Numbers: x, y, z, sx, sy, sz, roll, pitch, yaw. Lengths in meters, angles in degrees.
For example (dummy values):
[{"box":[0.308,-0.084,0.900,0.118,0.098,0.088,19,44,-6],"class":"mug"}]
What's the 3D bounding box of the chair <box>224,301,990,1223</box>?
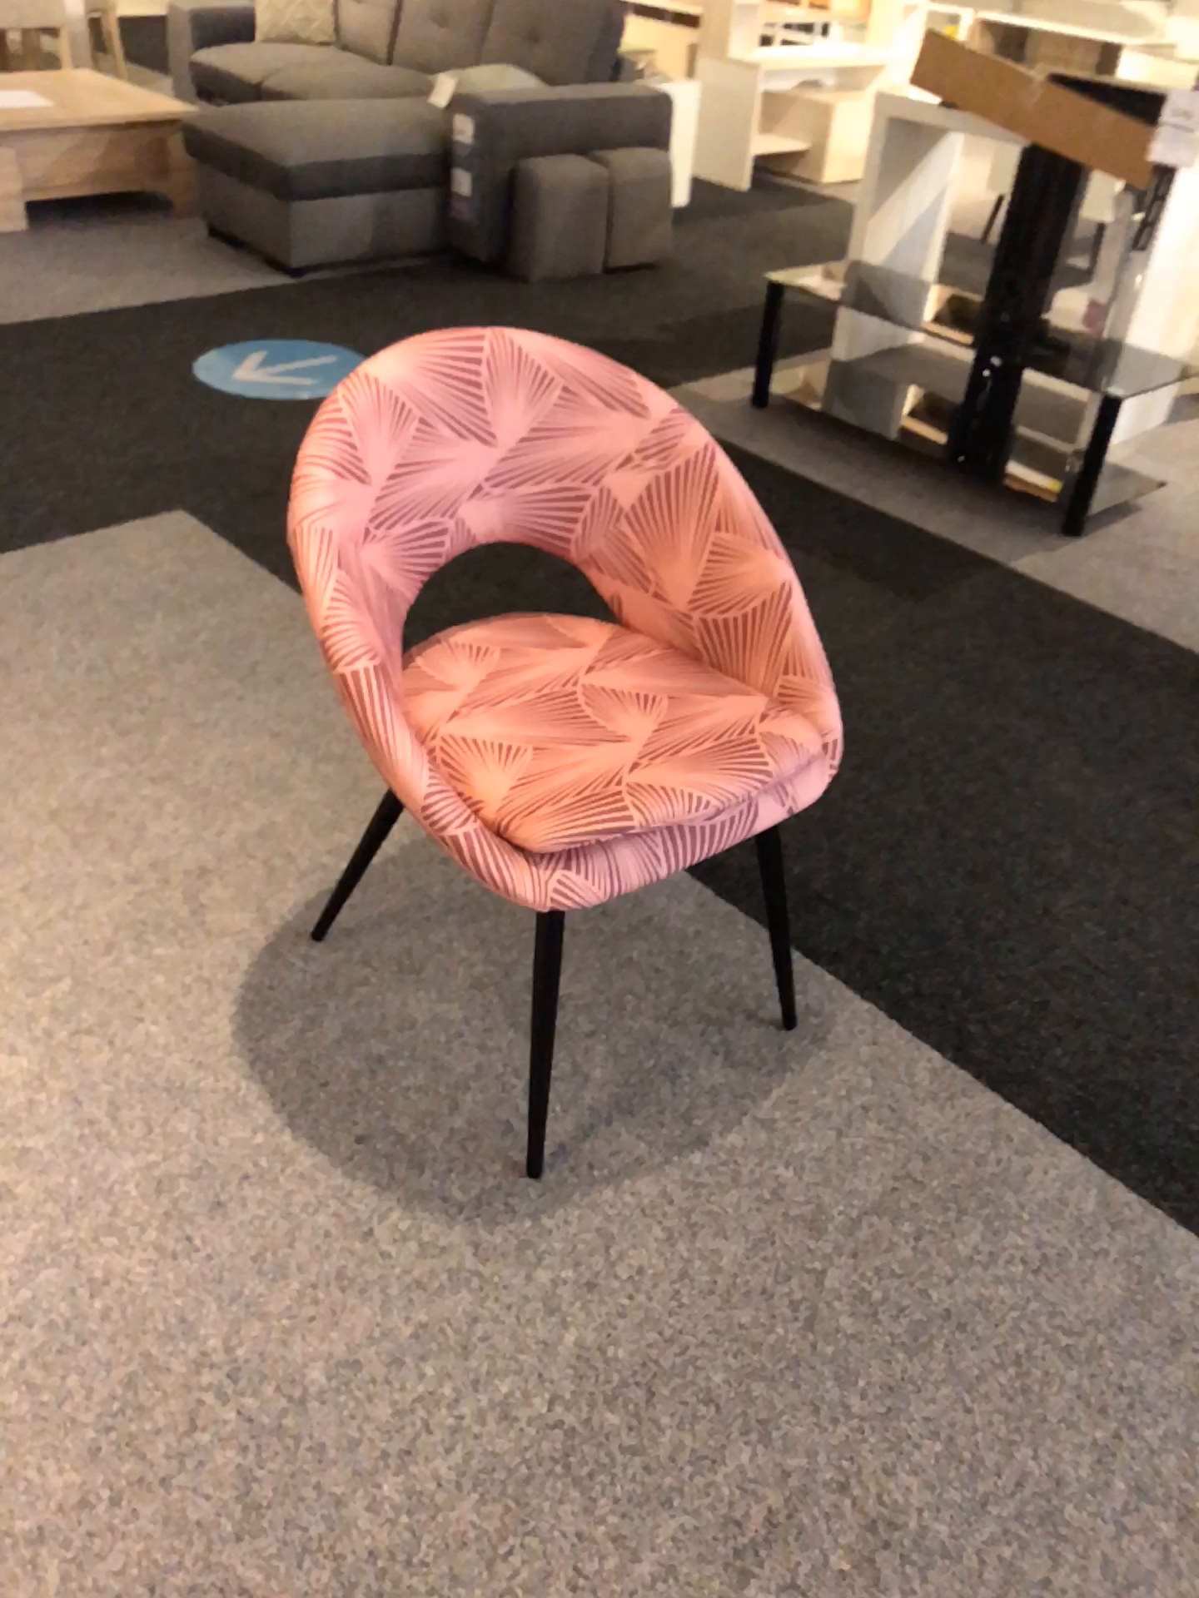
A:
[{"box":[-0.035,-0.079,1.581,0.533,0.795,0.601,-22,43,-33],"class":"chair"}]
